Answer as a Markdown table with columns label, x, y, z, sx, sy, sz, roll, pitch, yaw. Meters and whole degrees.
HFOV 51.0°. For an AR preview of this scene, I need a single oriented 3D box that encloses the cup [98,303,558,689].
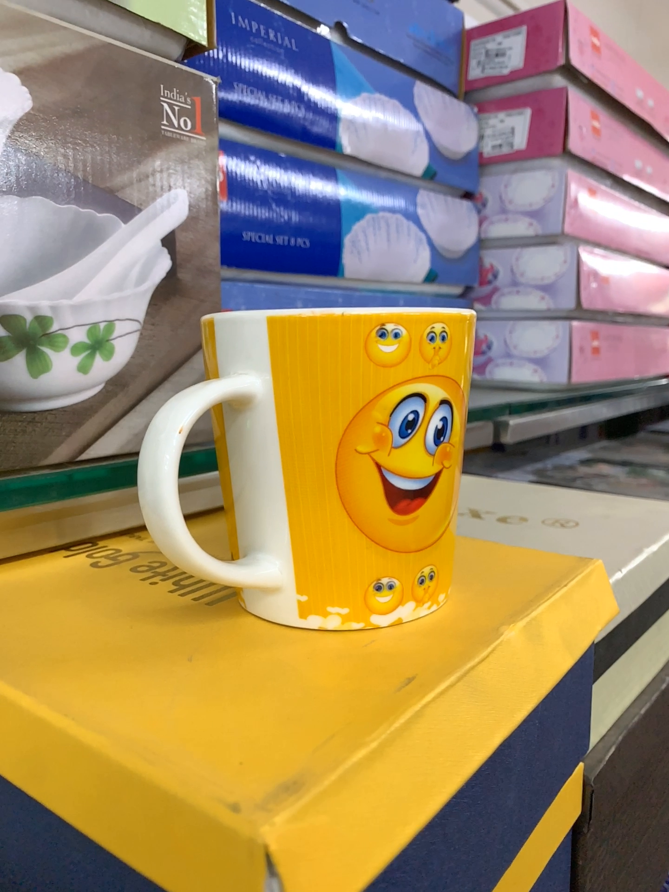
| label | x | y | z | sx | sy | sz | roll | pitch | yaw |
| --- | --- | --- | --- | --- | --- | --- | --- | --- | --- |
| cup | 0.003 | 0.002 | 0.211 | 0.119 | 0.081 | 0.072 | -7 | 11 | -44 |
